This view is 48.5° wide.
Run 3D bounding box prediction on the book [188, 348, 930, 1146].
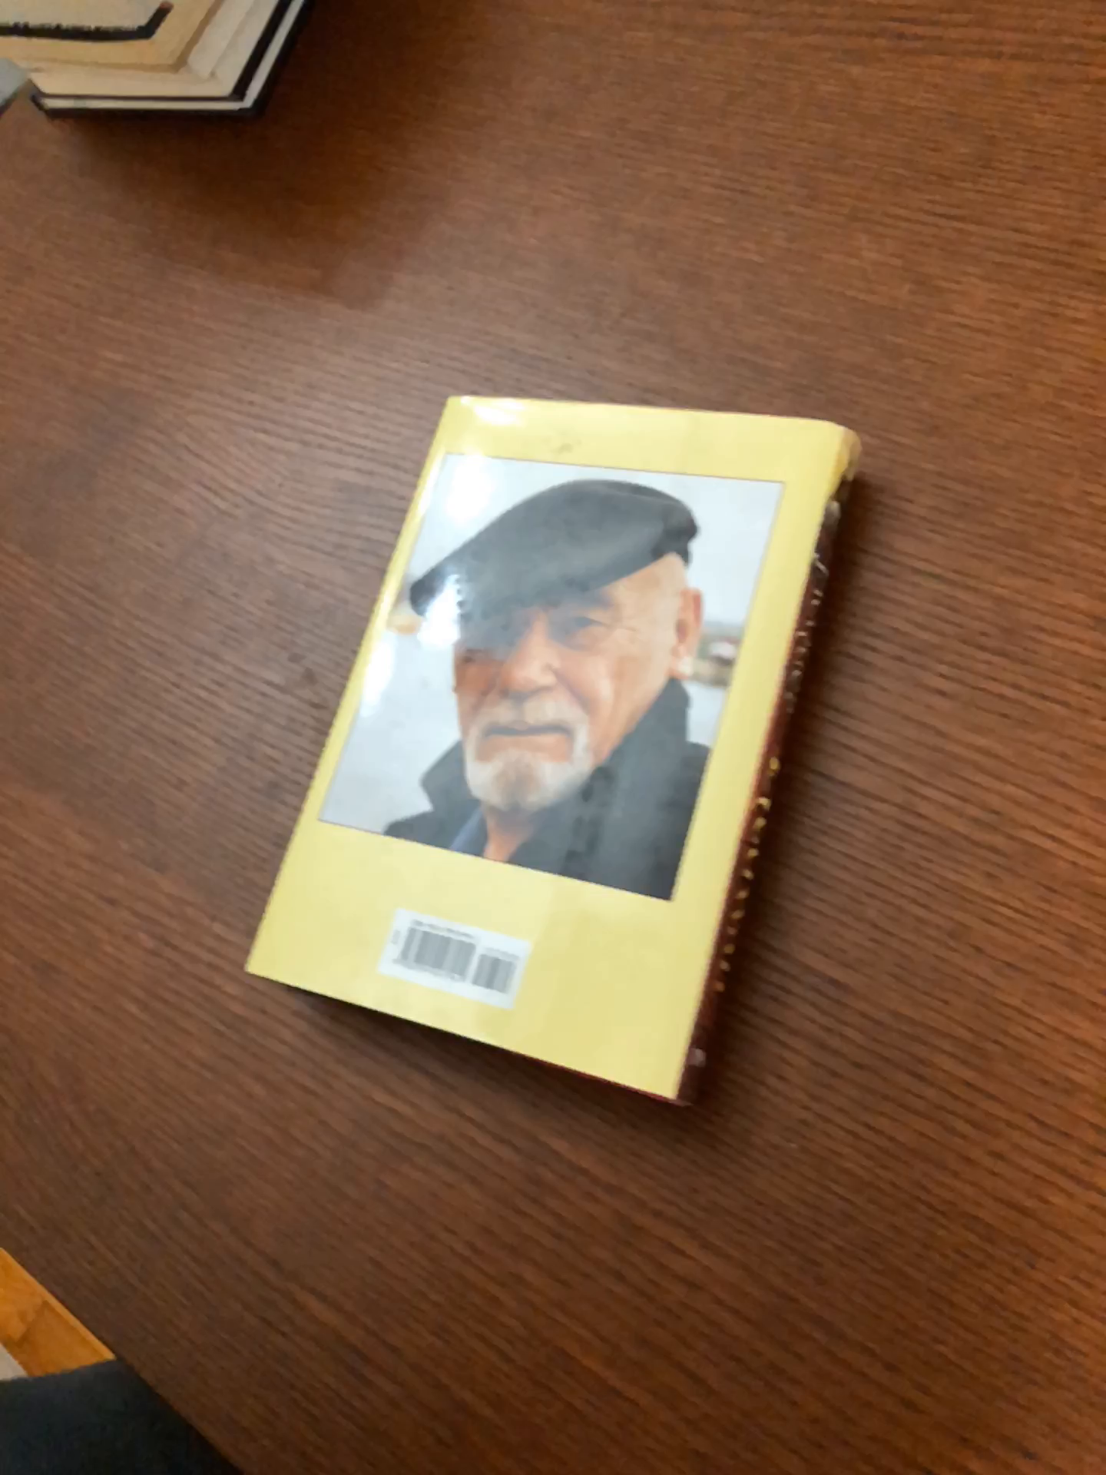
[{"bbox_3d":[0.005,-0.016,0.422,0.190,0.030,0.250,11,73,24],"label":"book"}]
